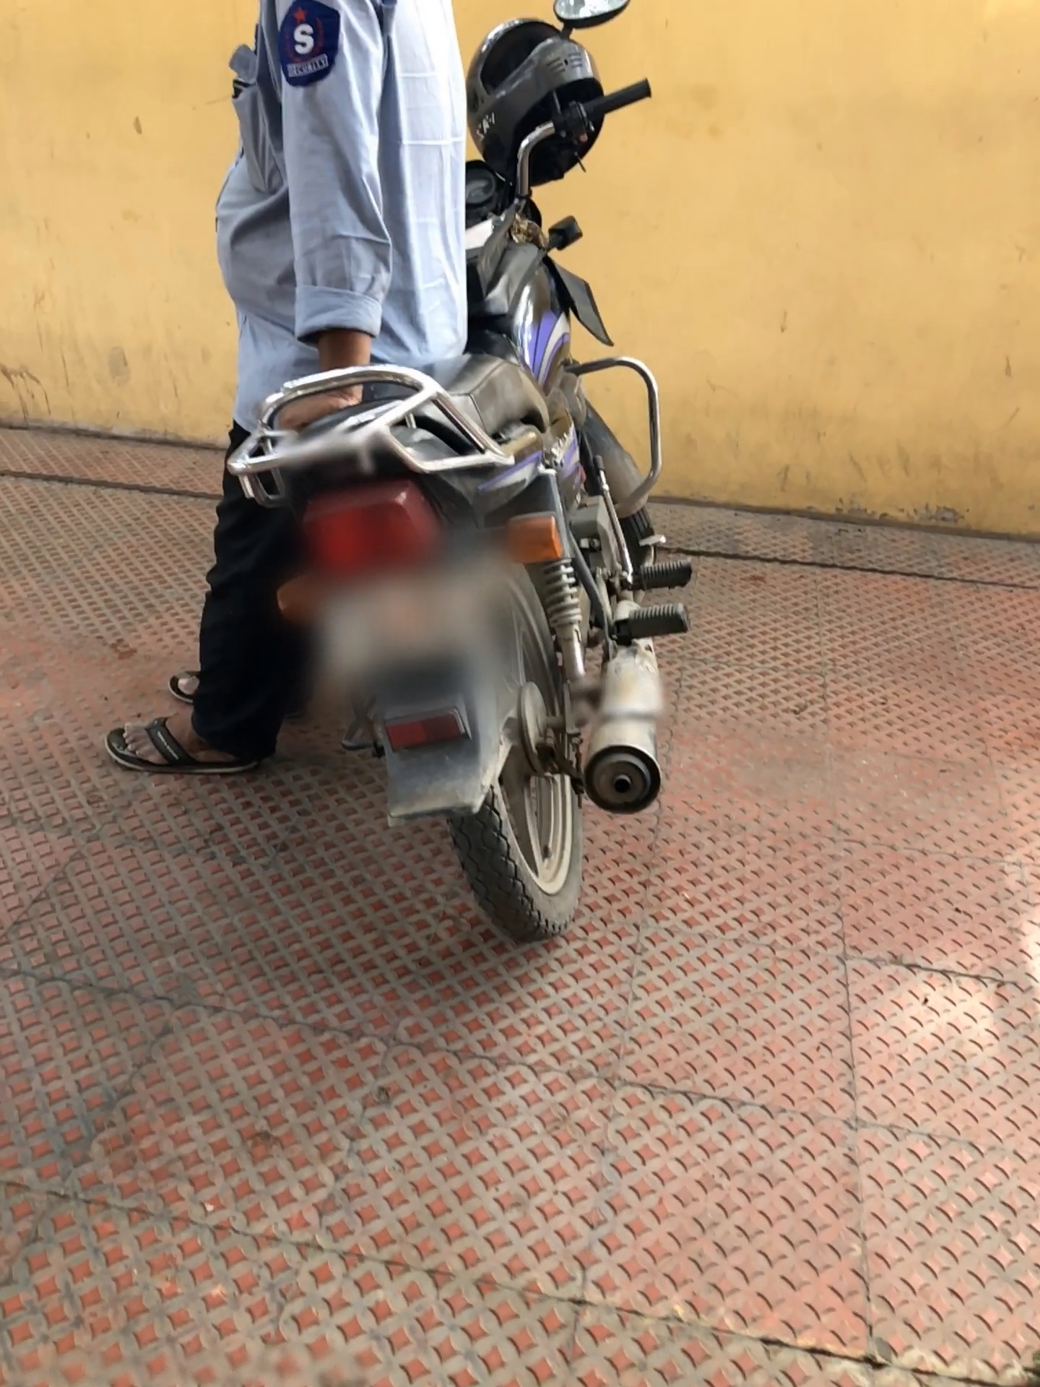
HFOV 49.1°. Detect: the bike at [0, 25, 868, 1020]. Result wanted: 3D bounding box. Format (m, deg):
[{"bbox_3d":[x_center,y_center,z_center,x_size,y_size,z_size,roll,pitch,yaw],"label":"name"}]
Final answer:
[{"bbox_3d":[-0.211,-0.491,1.928,0.920,1.007,1.684,1,32,-2],"label":"bike"}]
